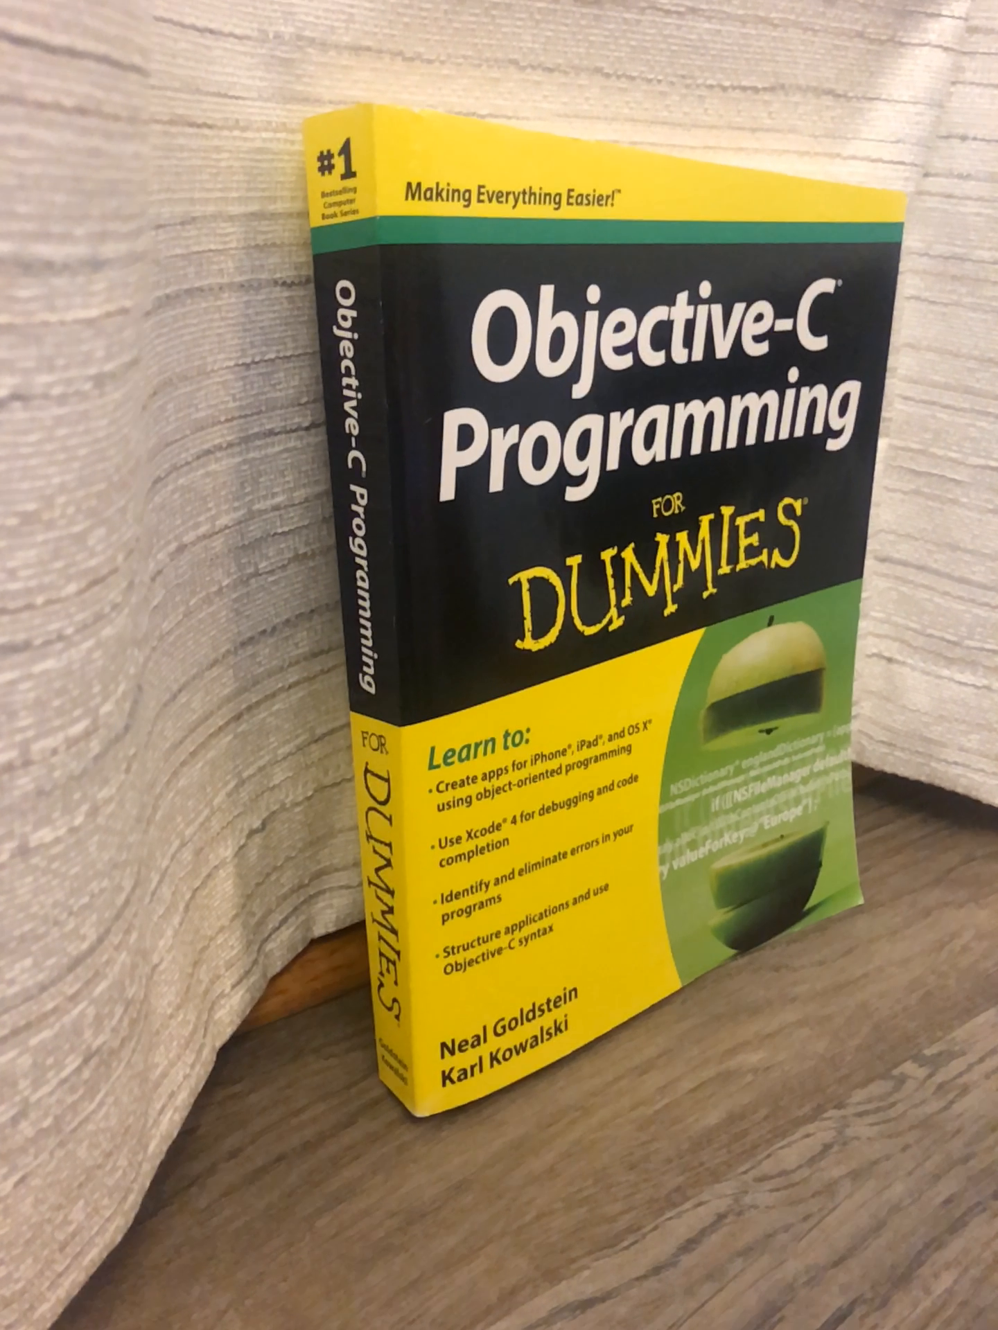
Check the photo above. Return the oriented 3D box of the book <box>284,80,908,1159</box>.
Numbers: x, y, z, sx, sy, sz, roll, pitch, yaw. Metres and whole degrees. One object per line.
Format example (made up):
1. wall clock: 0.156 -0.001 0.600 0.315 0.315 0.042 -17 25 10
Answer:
1. book: 0.041 -0.016 0.301 0.184 0.230 0.033 -13 17 -38
